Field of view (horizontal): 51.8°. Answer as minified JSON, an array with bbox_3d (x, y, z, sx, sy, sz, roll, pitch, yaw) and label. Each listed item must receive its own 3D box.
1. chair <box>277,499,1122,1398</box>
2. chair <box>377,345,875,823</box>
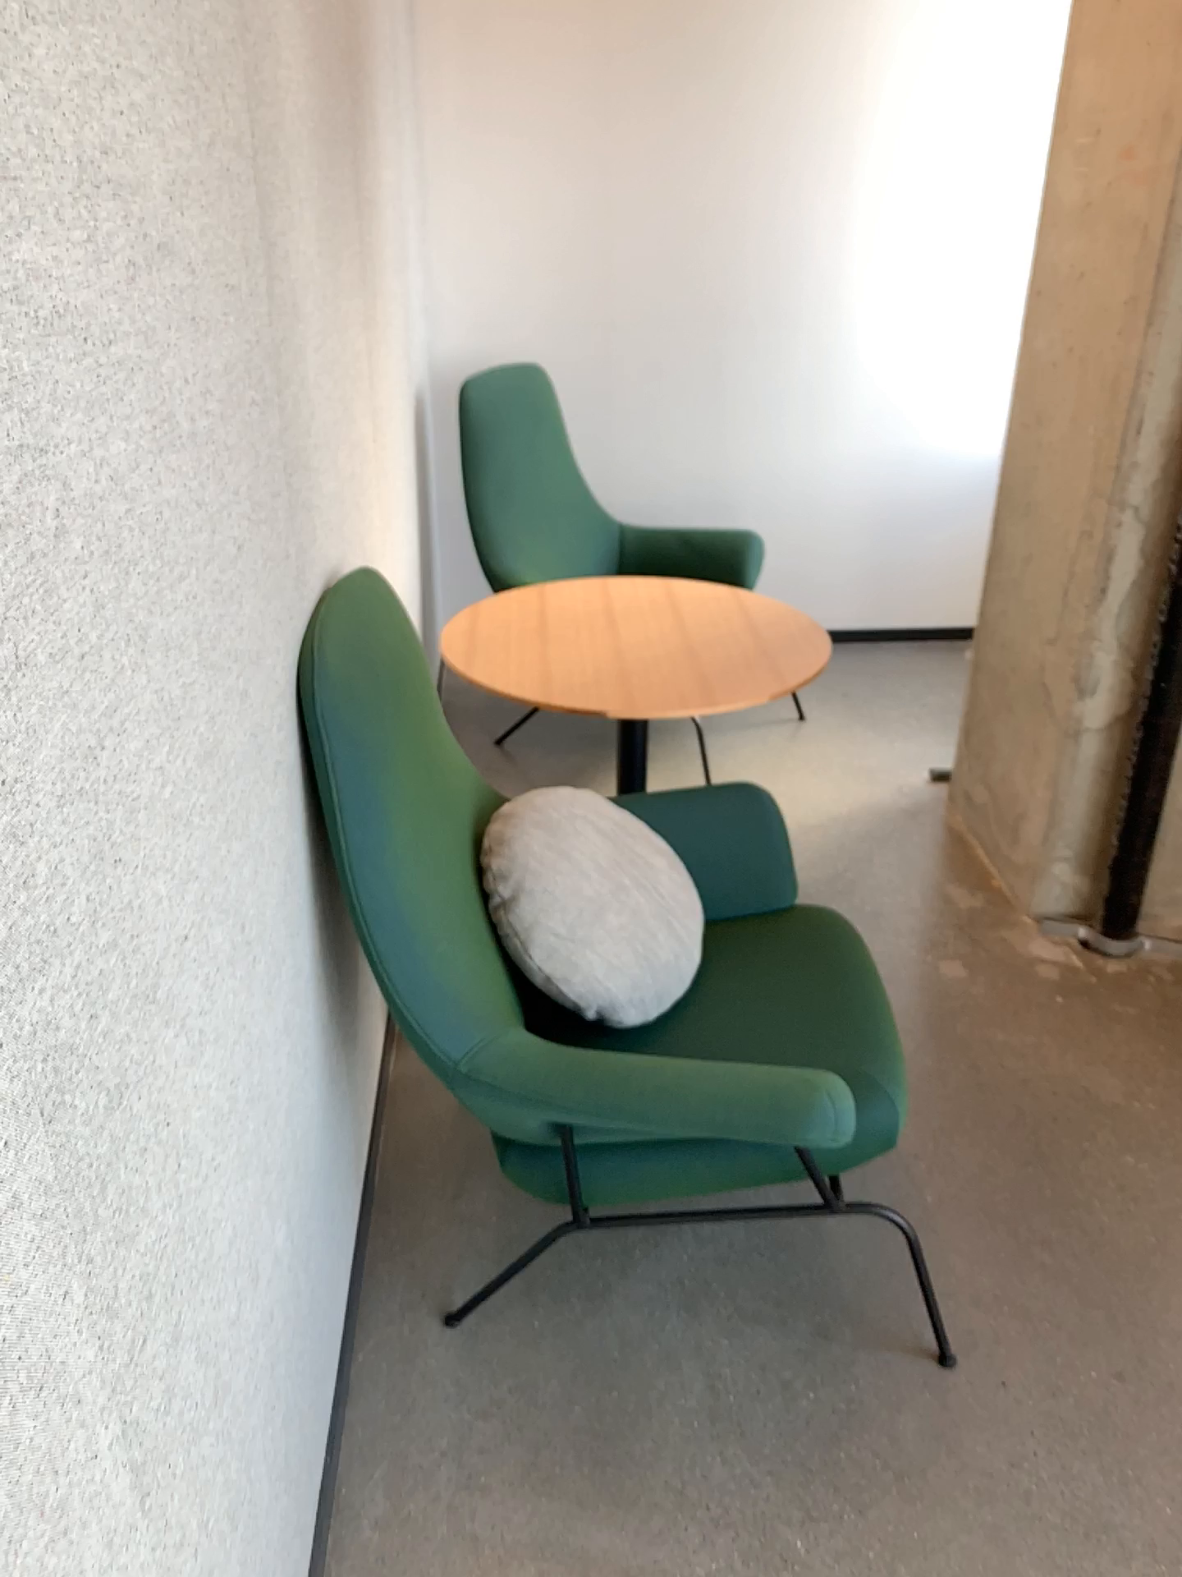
[{"bbox_3d":[0.103,0.189,1.826,0.850,1.034,0.835,1,27,0],"label":"chair"},{"bbox_3d":[0.105,-0.620,3.316,1.002,0.954,0.823,15,30,26],"label":"chair"}]
